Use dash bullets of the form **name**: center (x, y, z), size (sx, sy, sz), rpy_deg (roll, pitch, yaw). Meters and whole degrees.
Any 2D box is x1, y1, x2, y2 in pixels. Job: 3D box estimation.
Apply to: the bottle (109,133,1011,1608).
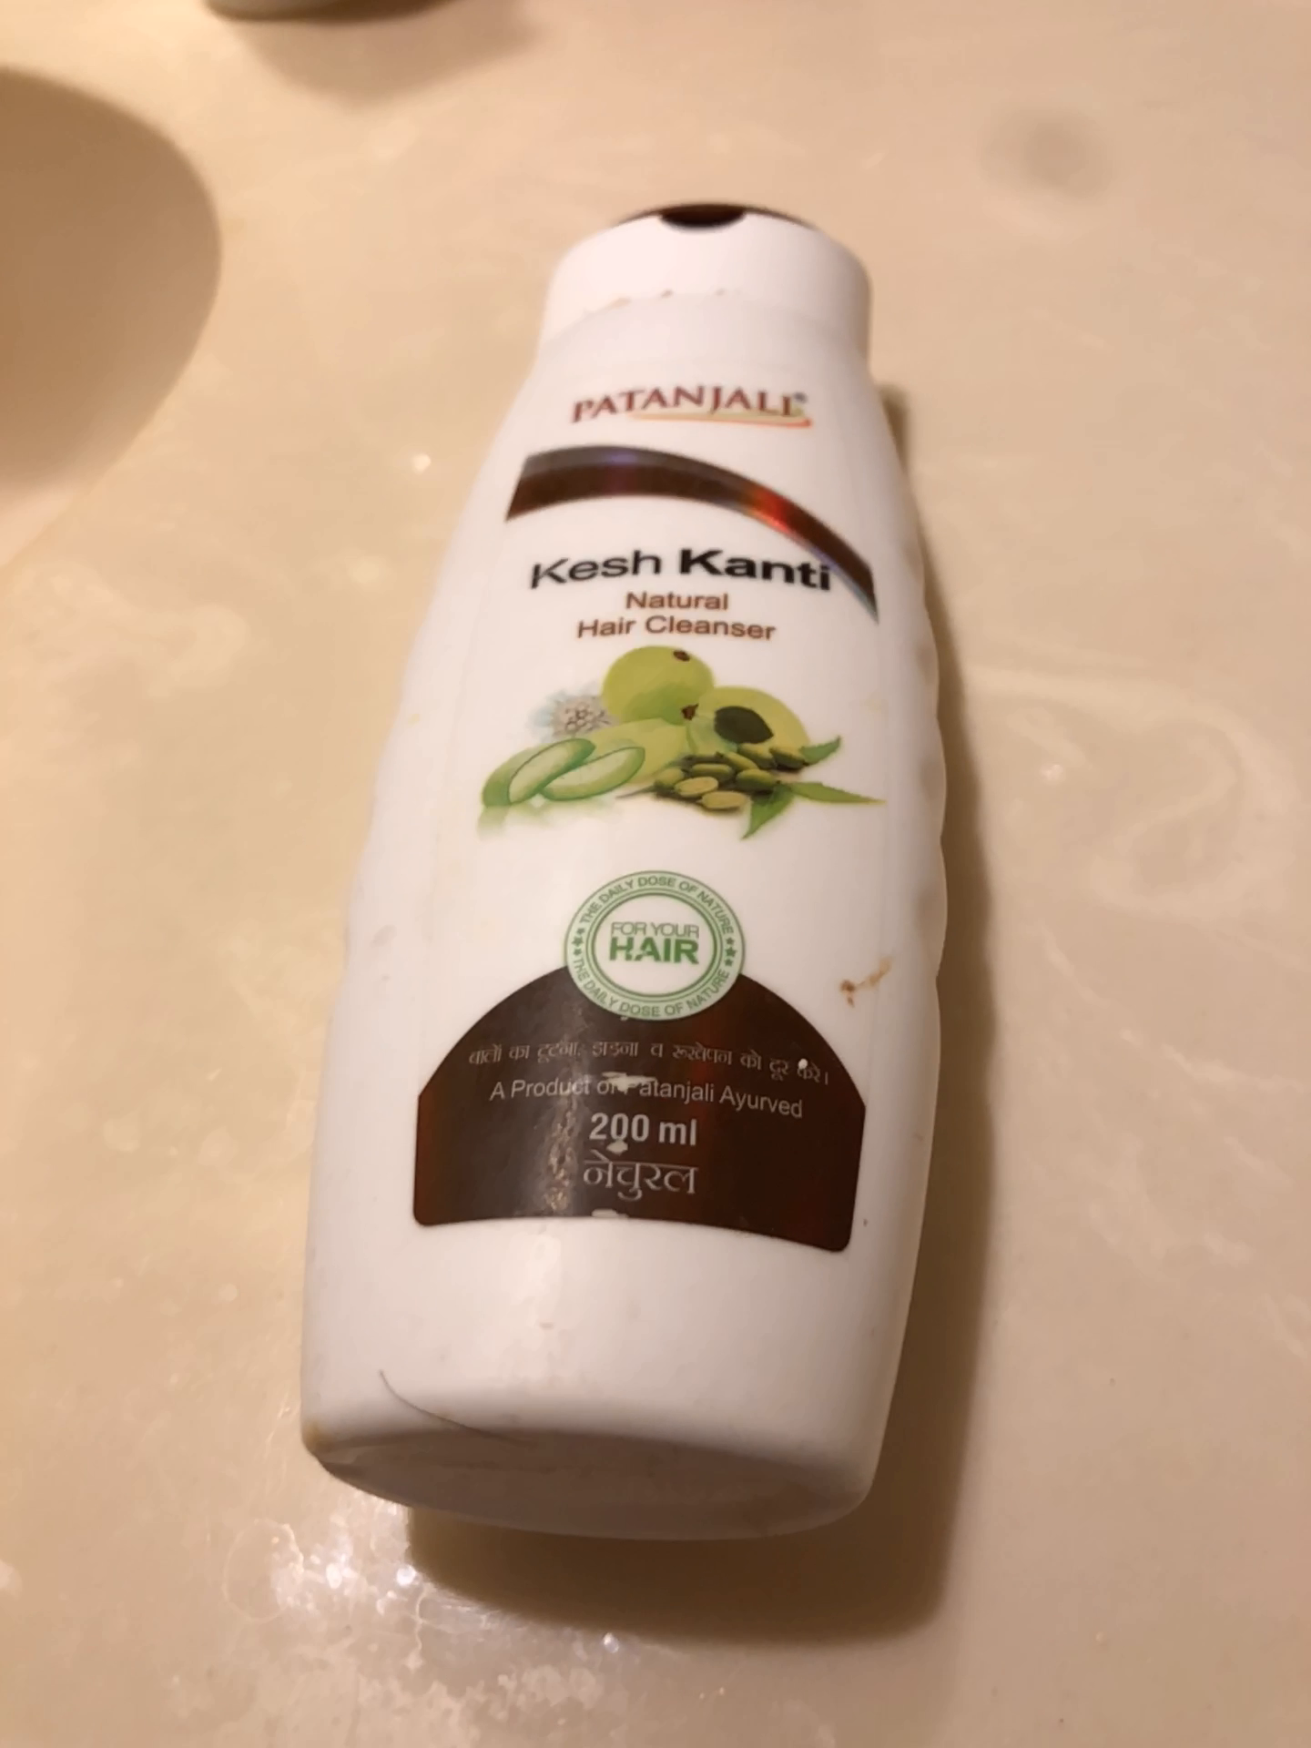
- **bottle**: center (0.004, -0.023, 0.189), size (0.070, 0.040, 0.200), rpy_deg (1, 52, 9)
